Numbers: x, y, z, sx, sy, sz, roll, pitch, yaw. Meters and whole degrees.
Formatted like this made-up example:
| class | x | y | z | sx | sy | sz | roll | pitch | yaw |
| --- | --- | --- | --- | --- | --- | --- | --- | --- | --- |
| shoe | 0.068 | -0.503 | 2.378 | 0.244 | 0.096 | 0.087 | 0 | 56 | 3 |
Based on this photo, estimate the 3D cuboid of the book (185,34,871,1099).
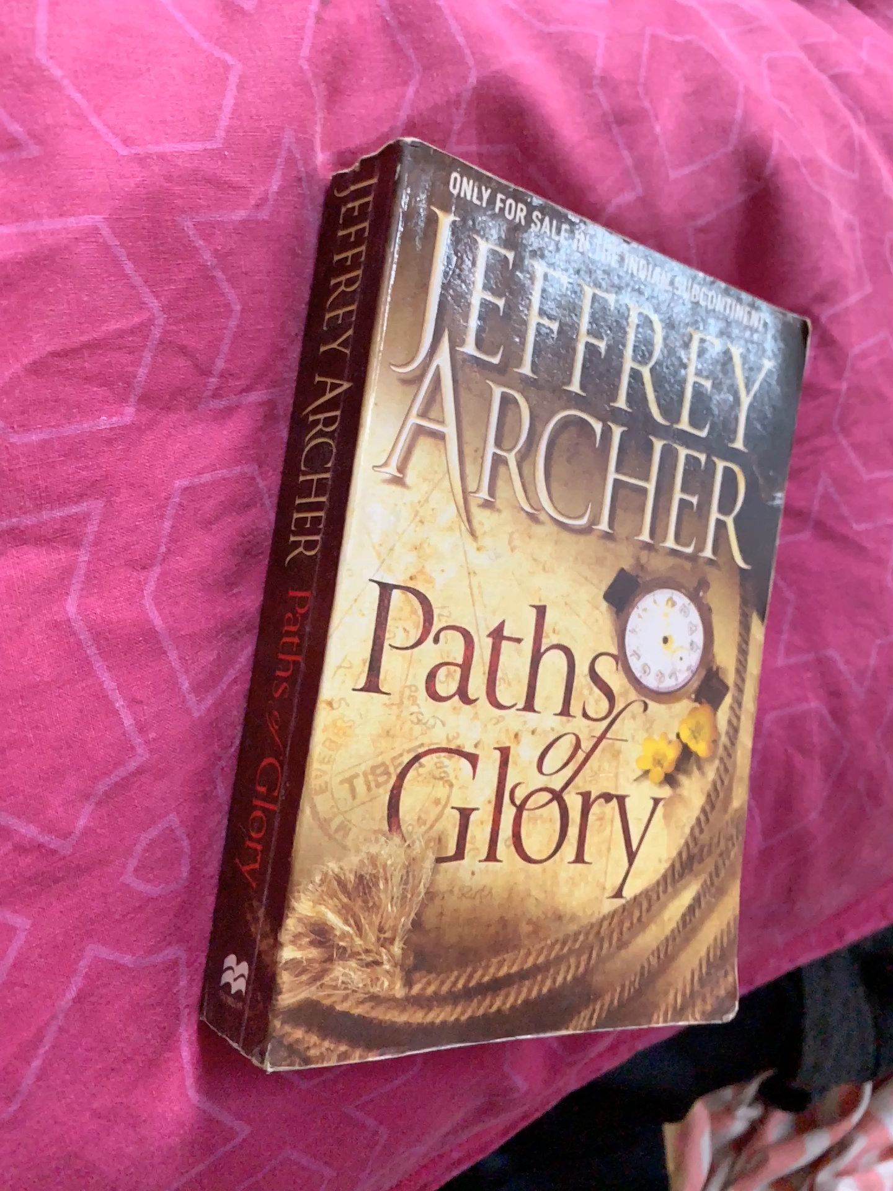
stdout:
| class | x | y | z | sx | sy | sz | roll | pitch | yaw |
| --- | --- | --- | --- | --- | --- | --- | --- | --- | --- |
| book | 0.024 | 0.001 | 0.202 | 0.120 | 0.040 | 0.180 | 11 | 84 | -28 |
